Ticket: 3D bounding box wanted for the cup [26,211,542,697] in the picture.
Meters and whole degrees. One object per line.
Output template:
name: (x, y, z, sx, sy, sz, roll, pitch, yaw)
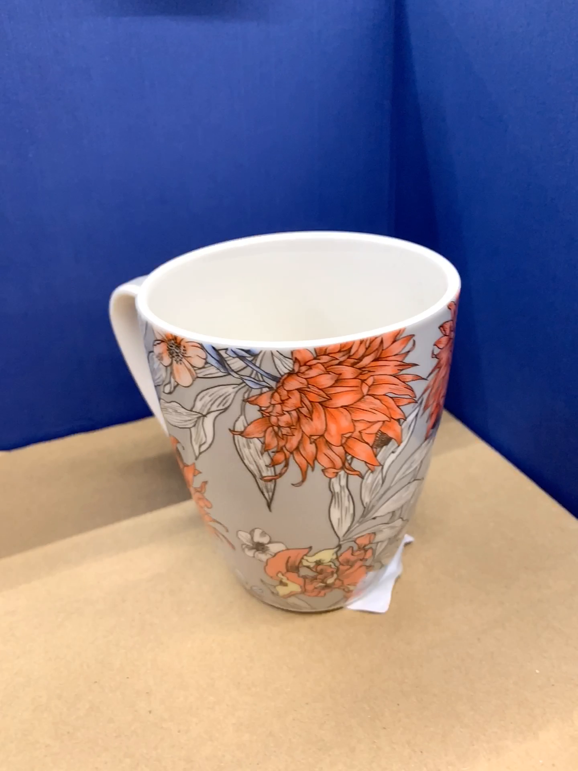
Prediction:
cup: (-0.004, 0.003, 0.193, 0.092, 0.085, 0.118, -26, 36, -38)
